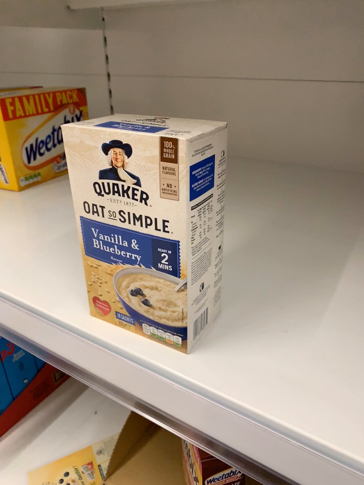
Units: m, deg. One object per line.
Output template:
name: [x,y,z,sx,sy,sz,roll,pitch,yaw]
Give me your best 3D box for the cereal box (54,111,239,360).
cereal box: [-0.030,-0.013,0.375,0.140,0.208,0.081,14,30,27]
